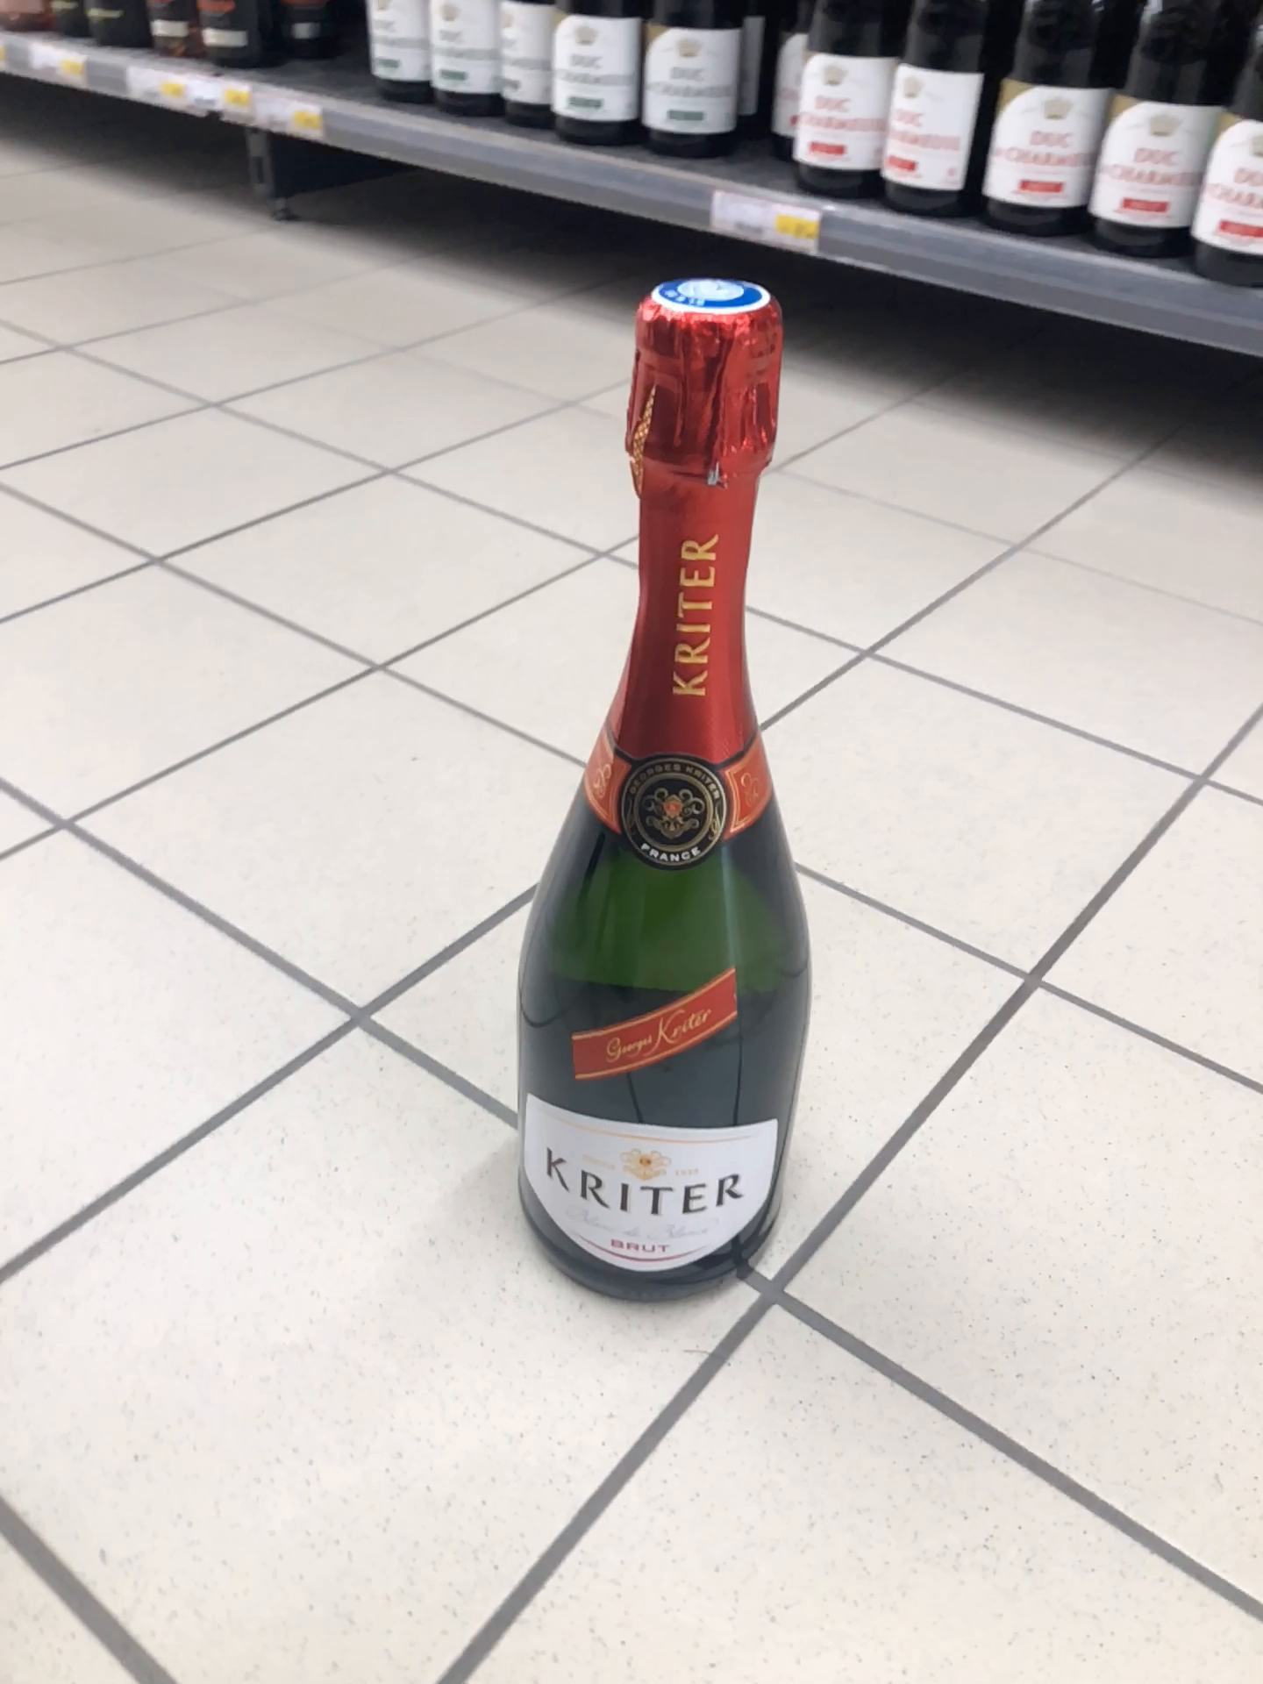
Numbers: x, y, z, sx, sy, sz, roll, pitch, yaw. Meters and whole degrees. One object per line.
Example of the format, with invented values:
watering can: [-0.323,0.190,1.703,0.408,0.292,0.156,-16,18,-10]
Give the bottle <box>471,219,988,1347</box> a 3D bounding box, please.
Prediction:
bottle: [0.022,-0.001,0.391,0.100,0.298,0.101,2,35,-1]
